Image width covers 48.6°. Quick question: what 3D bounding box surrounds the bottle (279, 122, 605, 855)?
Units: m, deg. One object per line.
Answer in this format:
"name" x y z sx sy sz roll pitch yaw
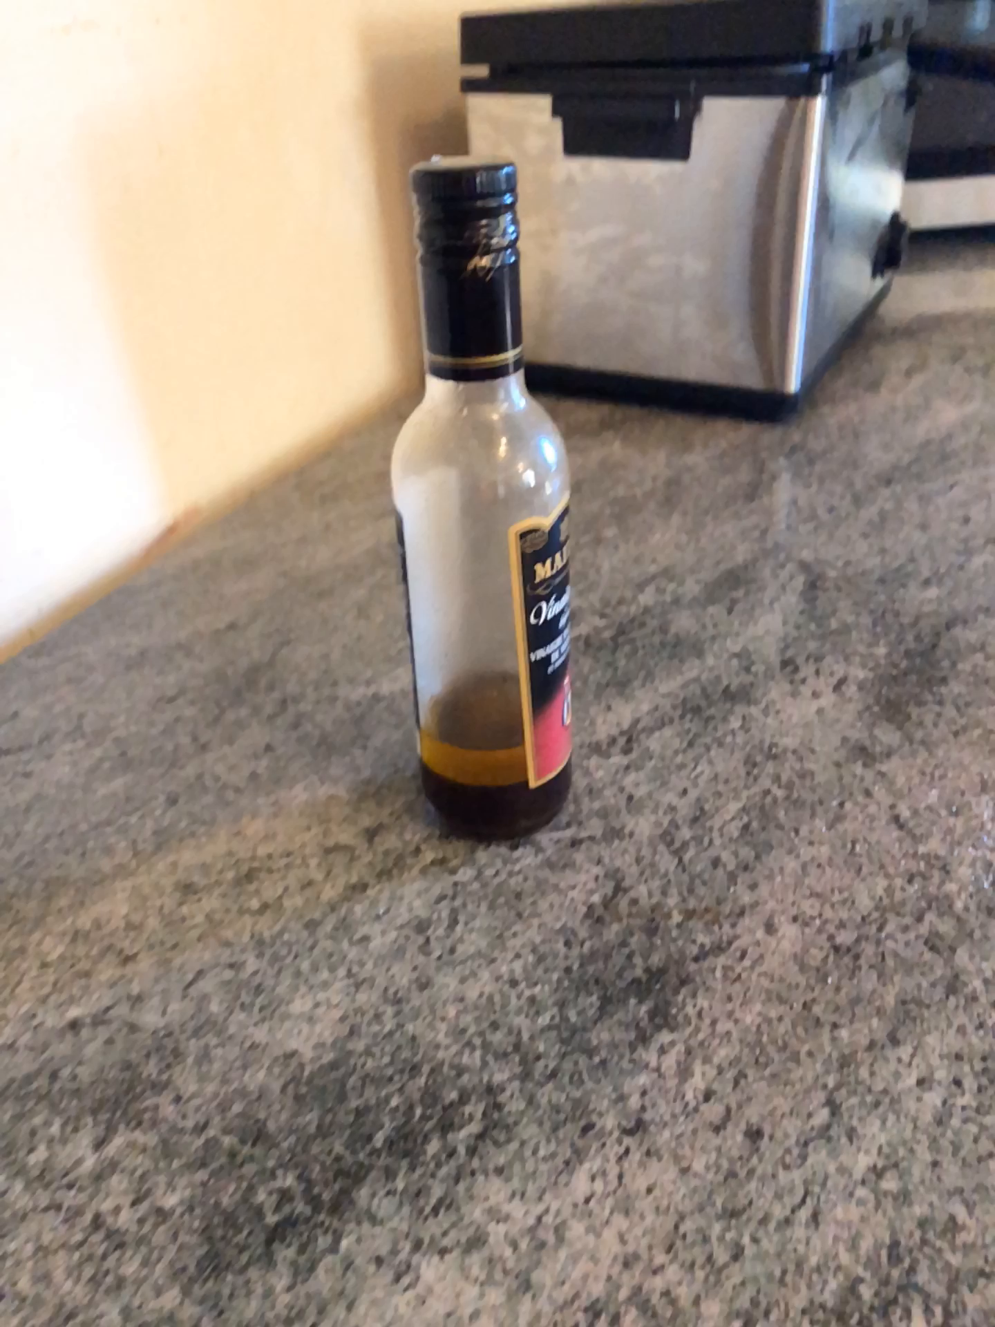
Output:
"bottle" -0.008 -0.052 0.373 0.070 0.229 0.070 -3 31 2
